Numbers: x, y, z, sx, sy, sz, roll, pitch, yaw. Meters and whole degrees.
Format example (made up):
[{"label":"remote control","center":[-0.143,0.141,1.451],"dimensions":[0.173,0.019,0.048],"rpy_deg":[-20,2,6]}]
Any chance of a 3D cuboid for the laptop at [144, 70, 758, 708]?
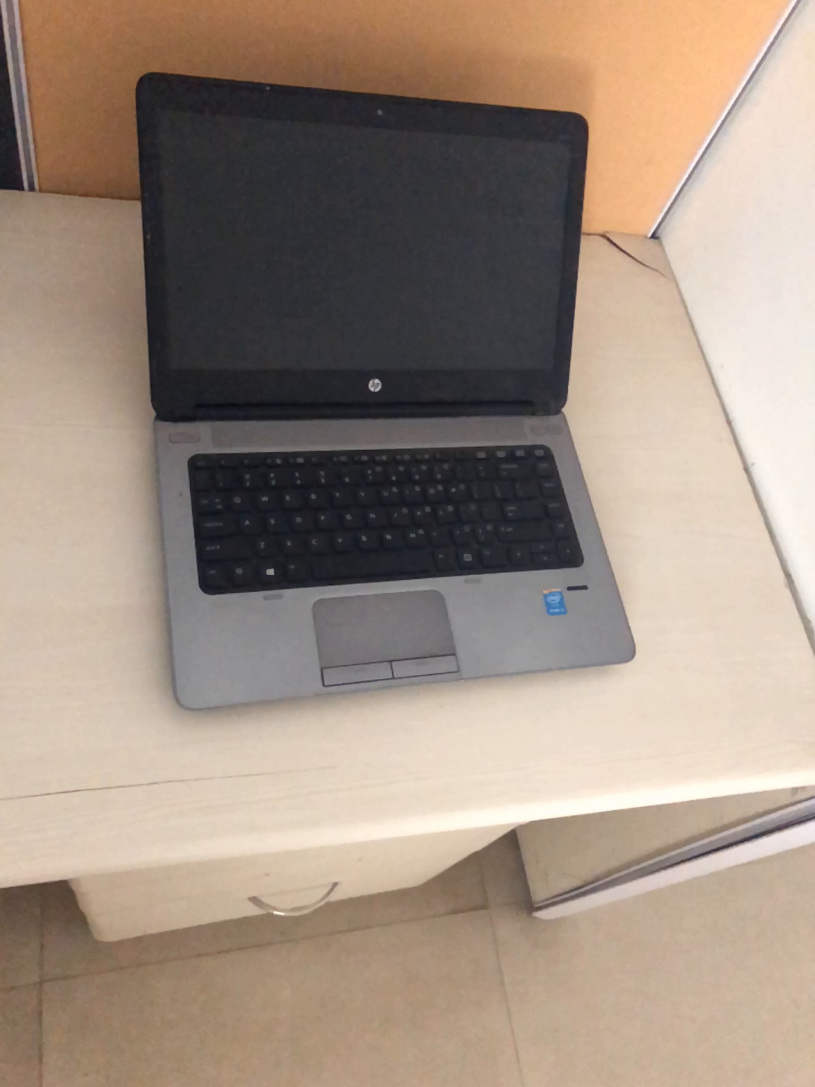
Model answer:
[{"label":"laptop","center":[-0.001,-0.112,0.632],"dimensions":[0.324,0.167,0.372],"rpy_deg":[-4,65,-18]}]
